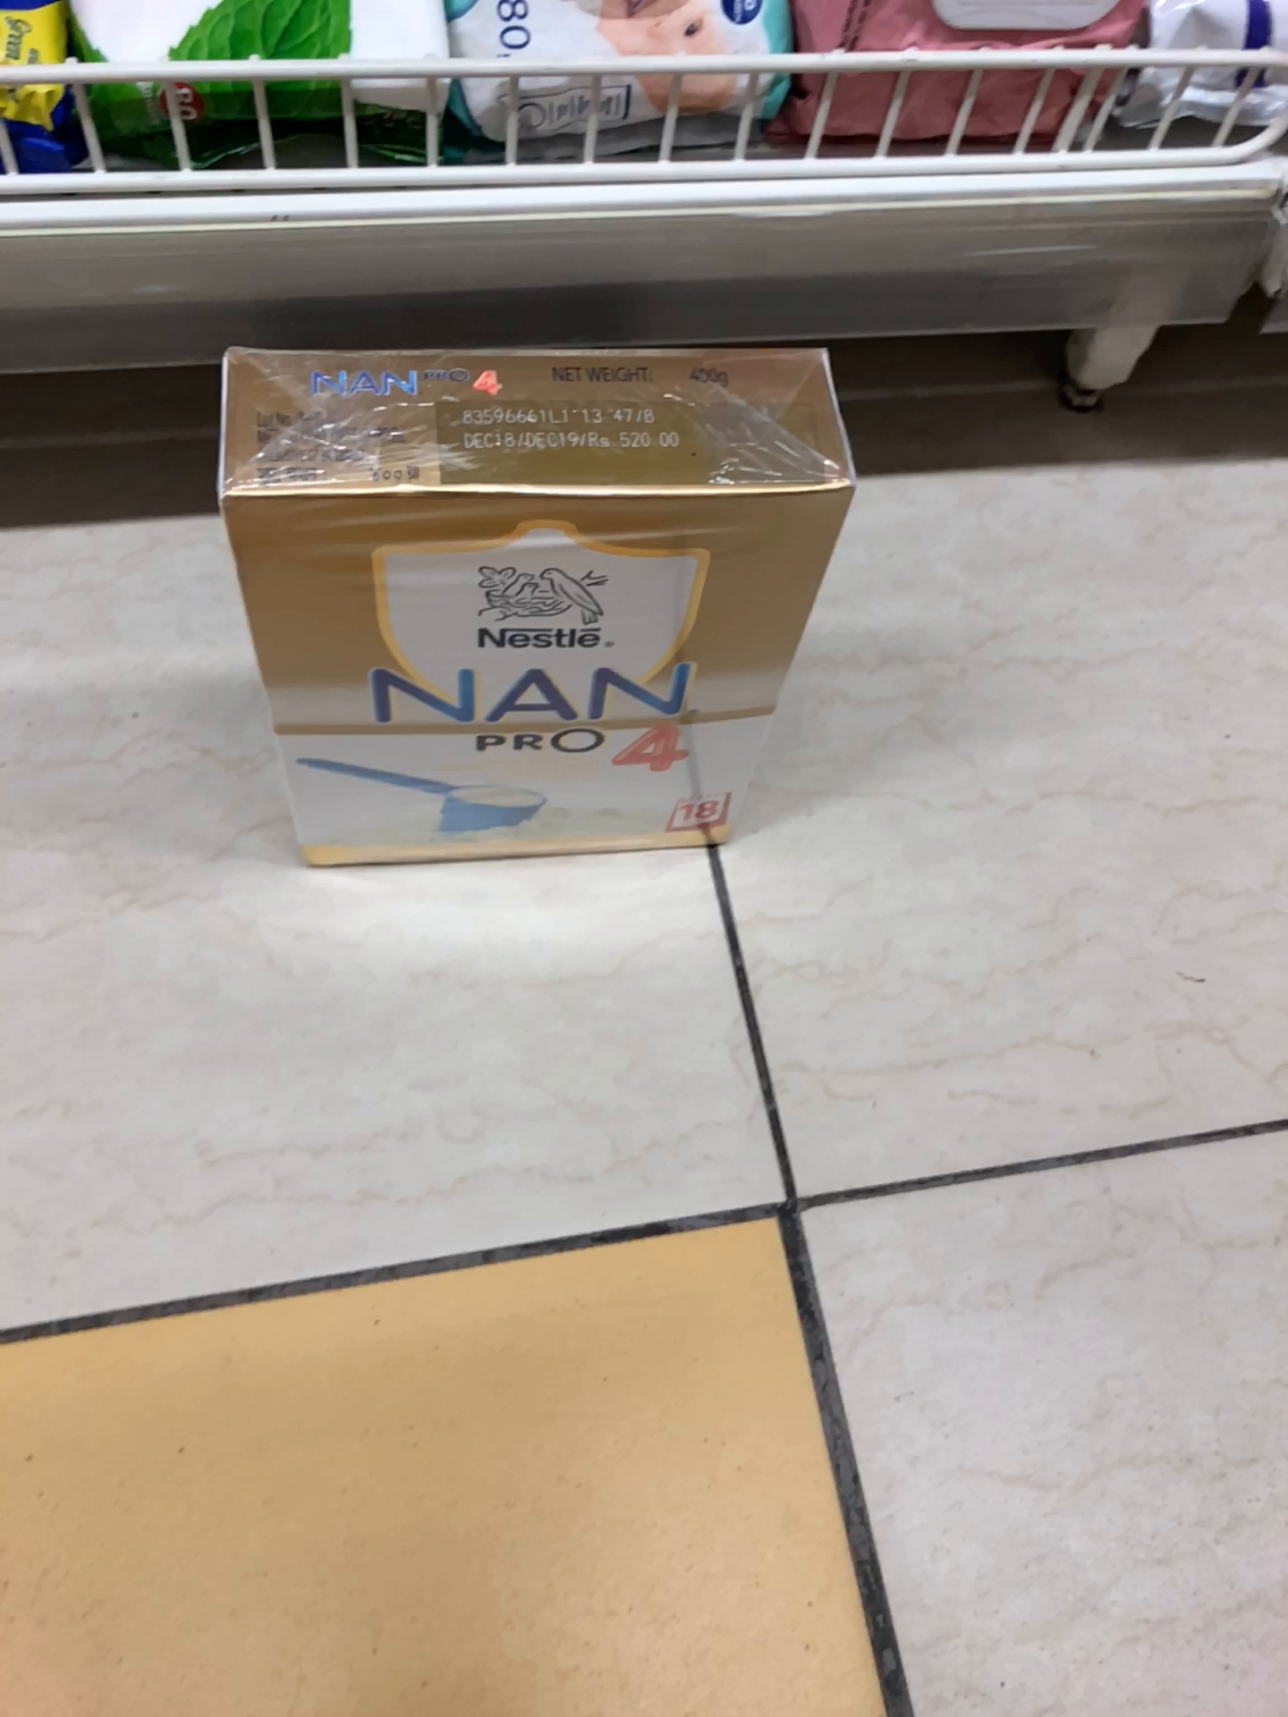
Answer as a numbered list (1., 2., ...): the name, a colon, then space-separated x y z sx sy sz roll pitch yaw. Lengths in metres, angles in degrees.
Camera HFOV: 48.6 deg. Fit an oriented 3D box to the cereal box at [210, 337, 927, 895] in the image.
1. cereal box: -0.028 -0.058 0.411 0.160 0.189 0.050 -4 63 -10
